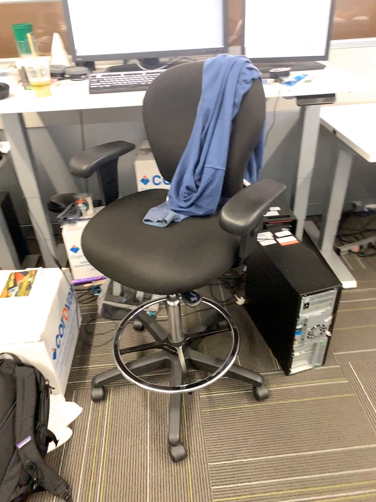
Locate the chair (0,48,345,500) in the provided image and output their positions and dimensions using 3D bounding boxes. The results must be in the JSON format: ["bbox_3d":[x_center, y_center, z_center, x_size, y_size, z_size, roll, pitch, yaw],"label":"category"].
[{"bbox_3d":[-0.052,0.012,1.270,0.752,1.103,0.743,16,39,25],"label":"chair"}]
